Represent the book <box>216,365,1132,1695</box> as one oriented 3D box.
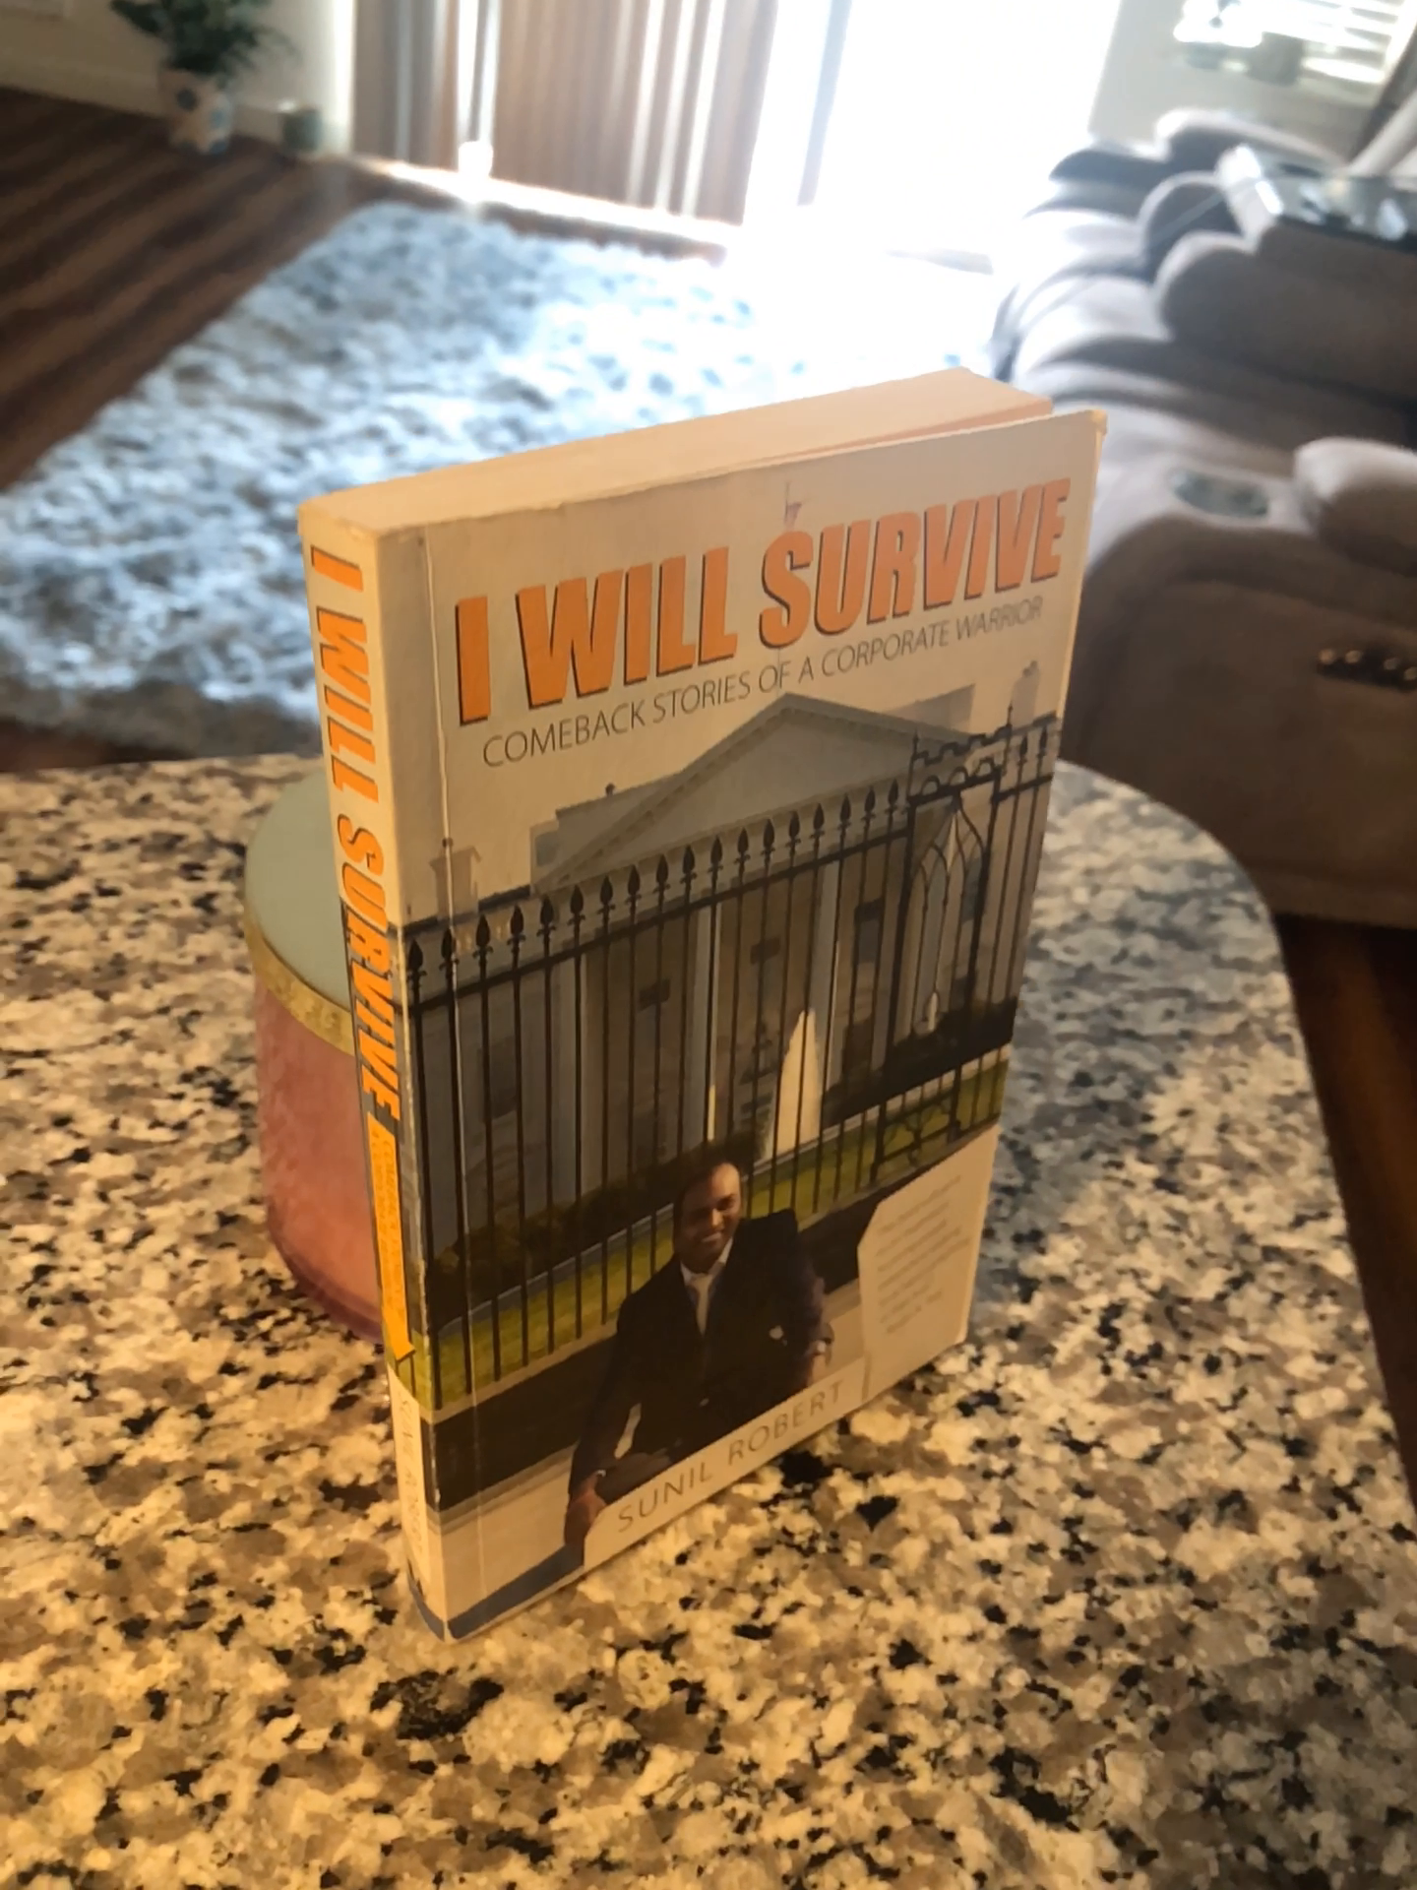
[{"bbox_3d":[0.001,0.013,0.262,0.135,0.191,0.032,-22,38,-35],"label":"book"}]
